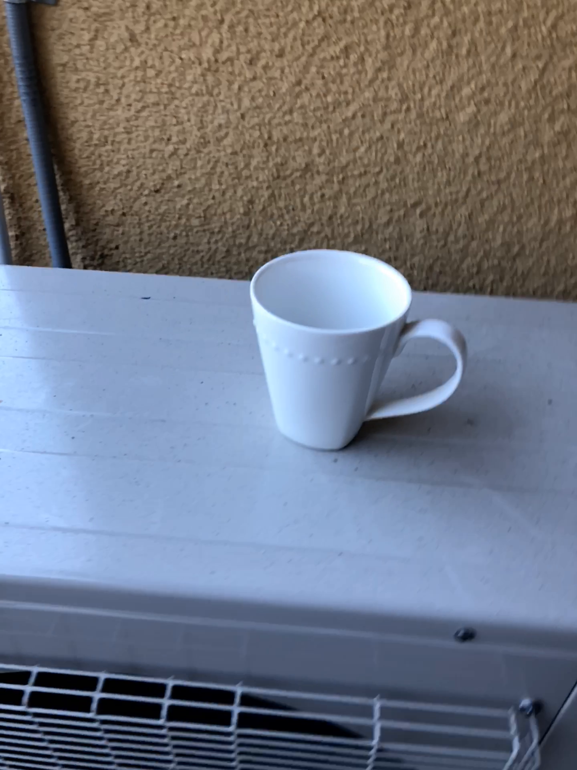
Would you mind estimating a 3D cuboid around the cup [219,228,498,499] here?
[{"bbox_3d":[0.042,-0.017,0.389,0.140,0.099,0.101,12,38,10],"label":"cup"}]
